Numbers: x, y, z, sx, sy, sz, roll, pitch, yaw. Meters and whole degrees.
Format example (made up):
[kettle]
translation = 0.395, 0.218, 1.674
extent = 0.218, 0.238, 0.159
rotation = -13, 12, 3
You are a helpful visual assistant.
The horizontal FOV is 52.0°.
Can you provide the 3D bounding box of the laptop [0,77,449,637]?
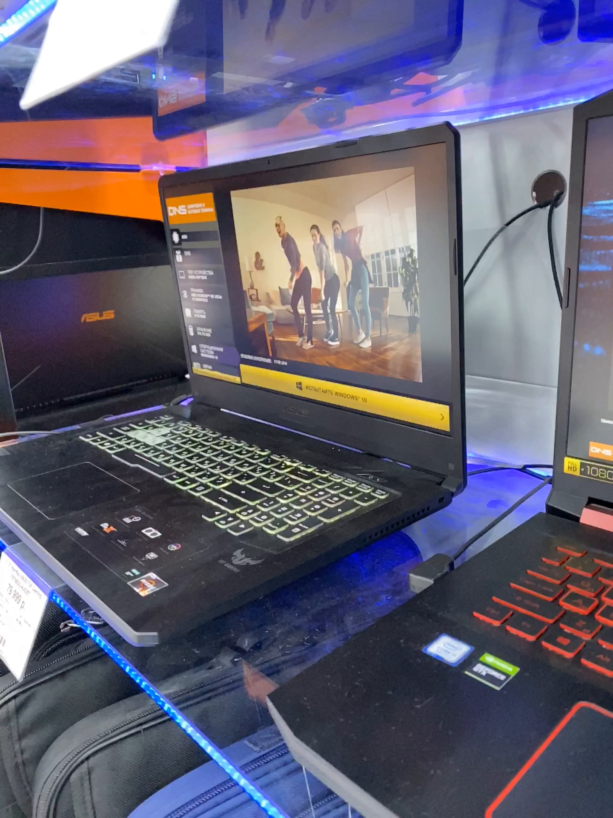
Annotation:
[laptop]
translation = -0.125, -0.071, 0.526
extent = 0.269, 0.265, 0.398
rotation = -16, 19, -40
